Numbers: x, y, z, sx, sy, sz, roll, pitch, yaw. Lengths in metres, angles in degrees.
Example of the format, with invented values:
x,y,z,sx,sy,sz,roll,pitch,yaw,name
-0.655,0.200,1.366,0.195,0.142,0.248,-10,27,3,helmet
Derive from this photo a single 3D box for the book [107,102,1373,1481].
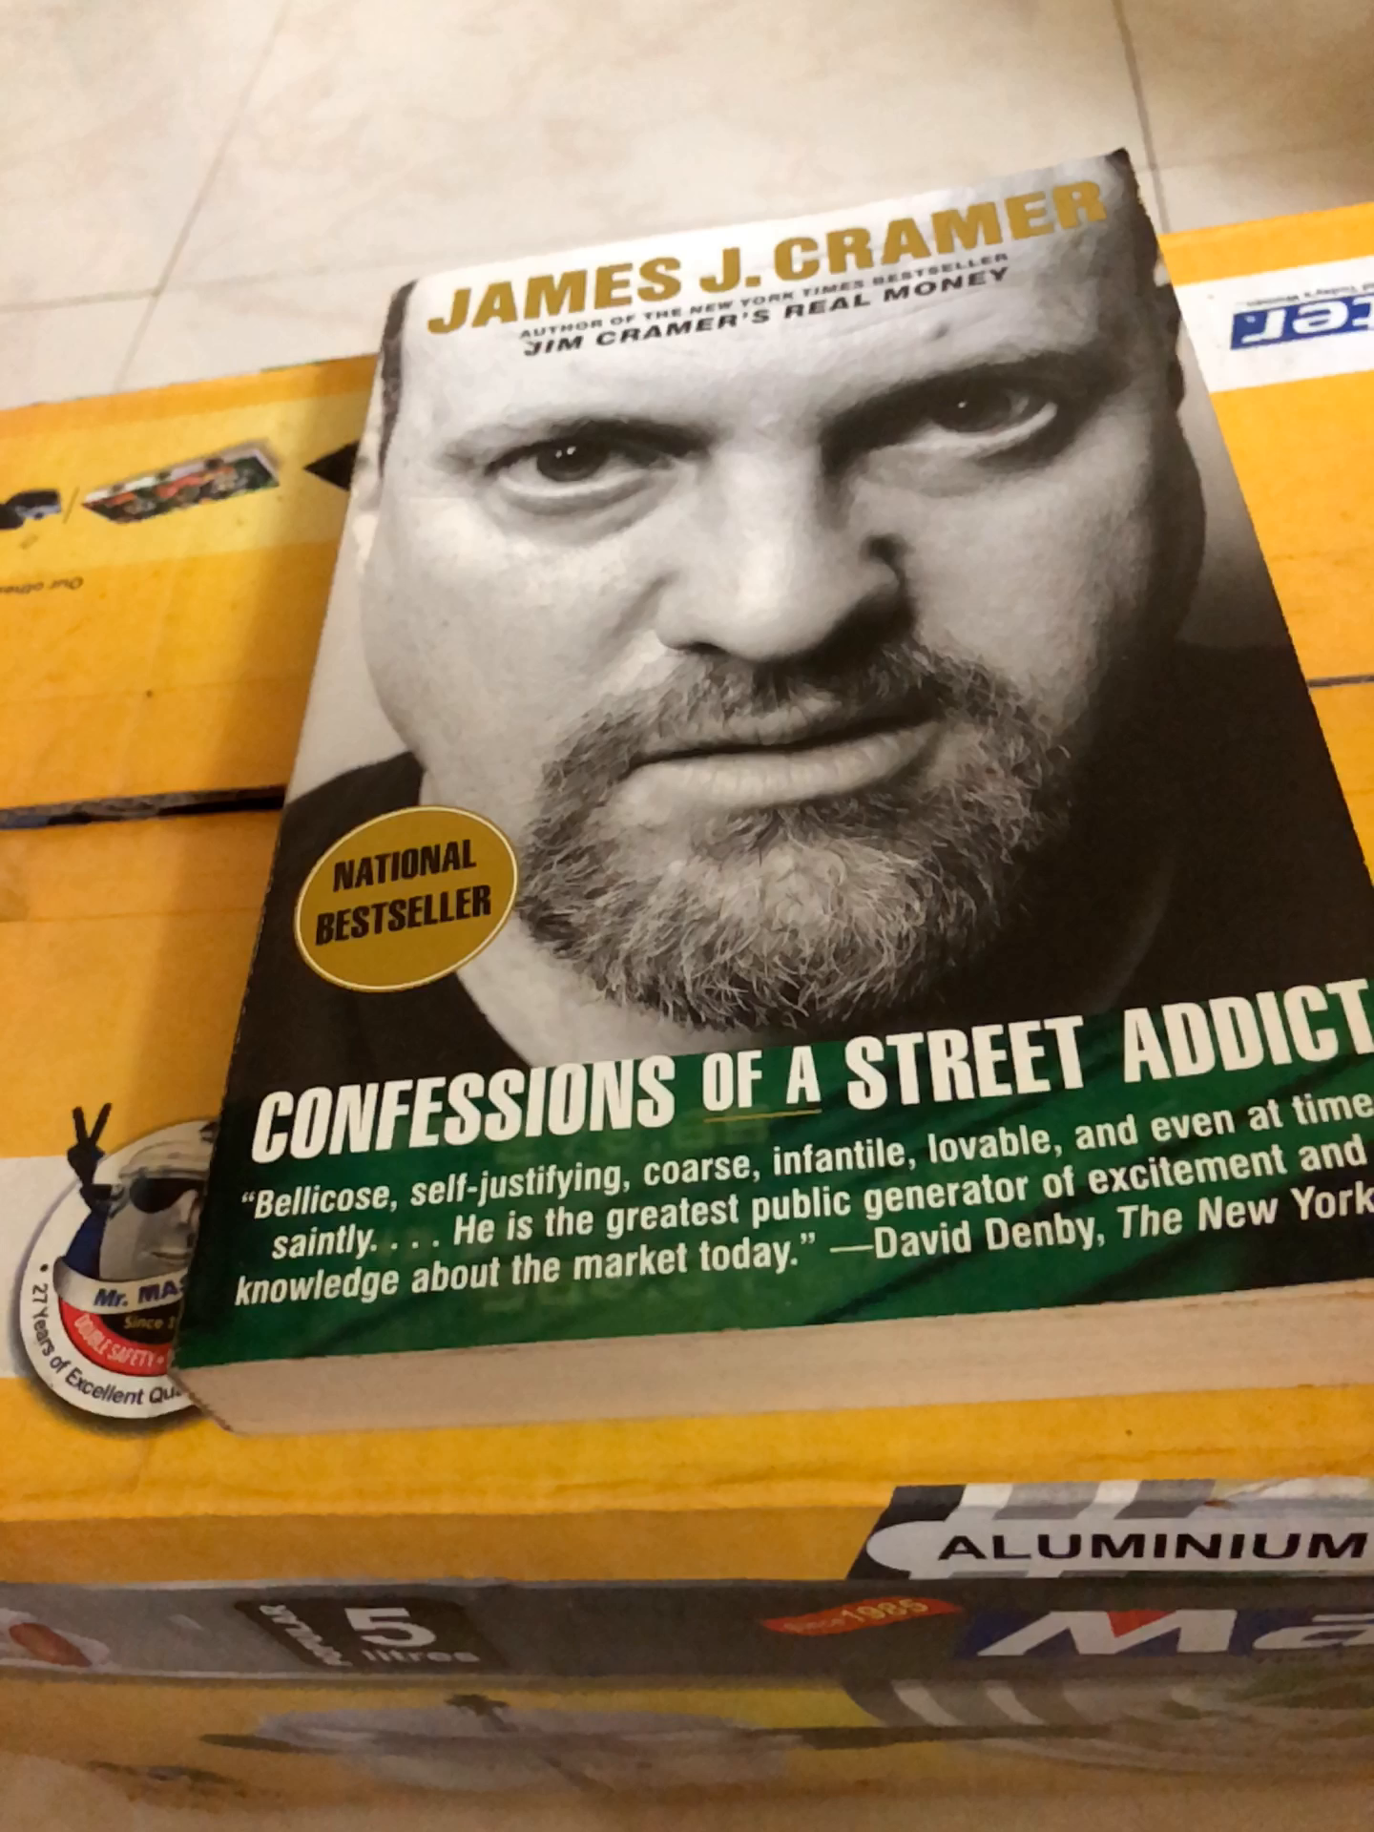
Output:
x,y,z,sx,sy,sz,roll,pitch,yaw,name
0.012,-0.041,0.231,0.140,0.030,0.231,-6,51,8,book
